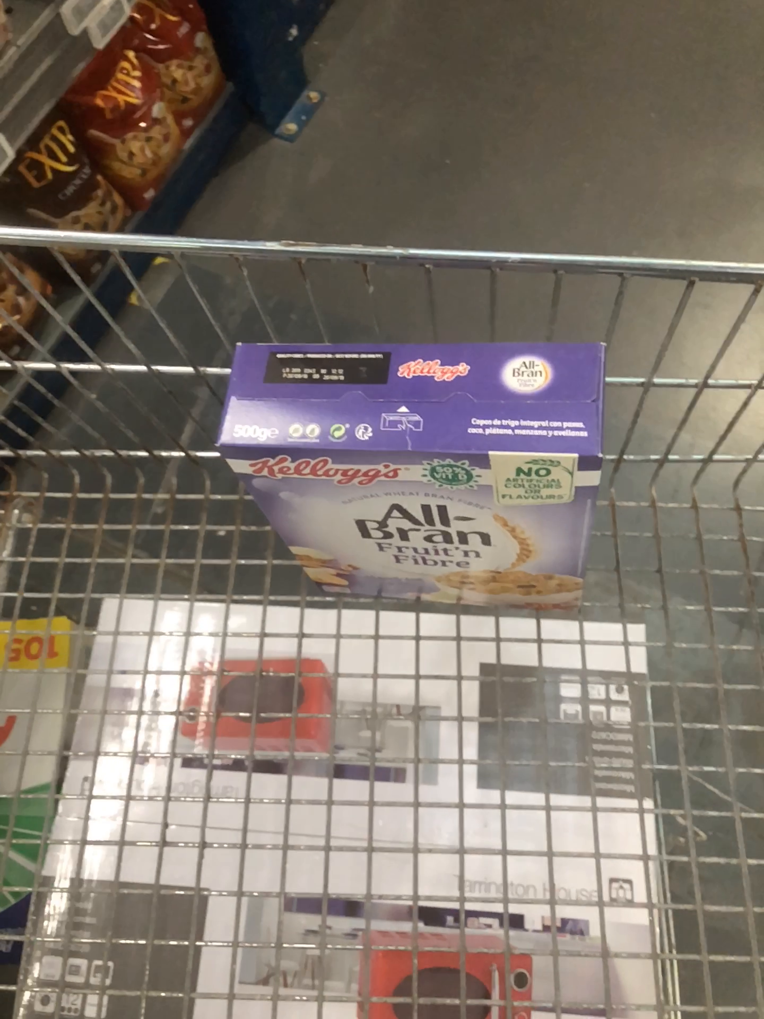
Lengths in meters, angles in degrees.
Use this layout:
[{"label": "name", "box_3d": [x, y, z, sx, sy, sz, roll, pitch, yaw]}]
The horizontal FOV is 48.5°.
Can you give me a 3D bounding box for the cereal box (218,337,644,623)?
[{"label": "cereal box", "box_3d": [0.040, -0.004, 0.493, 0.190, 0.230, 0.070, 2, 68, 11]}]
